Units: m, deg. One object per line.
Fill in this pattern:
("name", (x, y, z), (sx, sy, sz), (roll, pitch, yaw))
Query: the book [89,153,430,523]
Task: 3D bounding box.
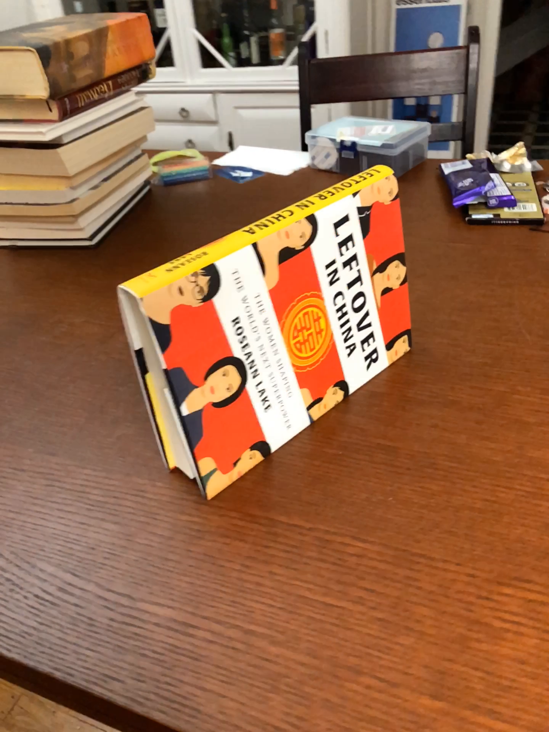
("book", (0.012, -0.032, 0.464), (0.261, 0.179, 0.060), (-32, 42, -31))
